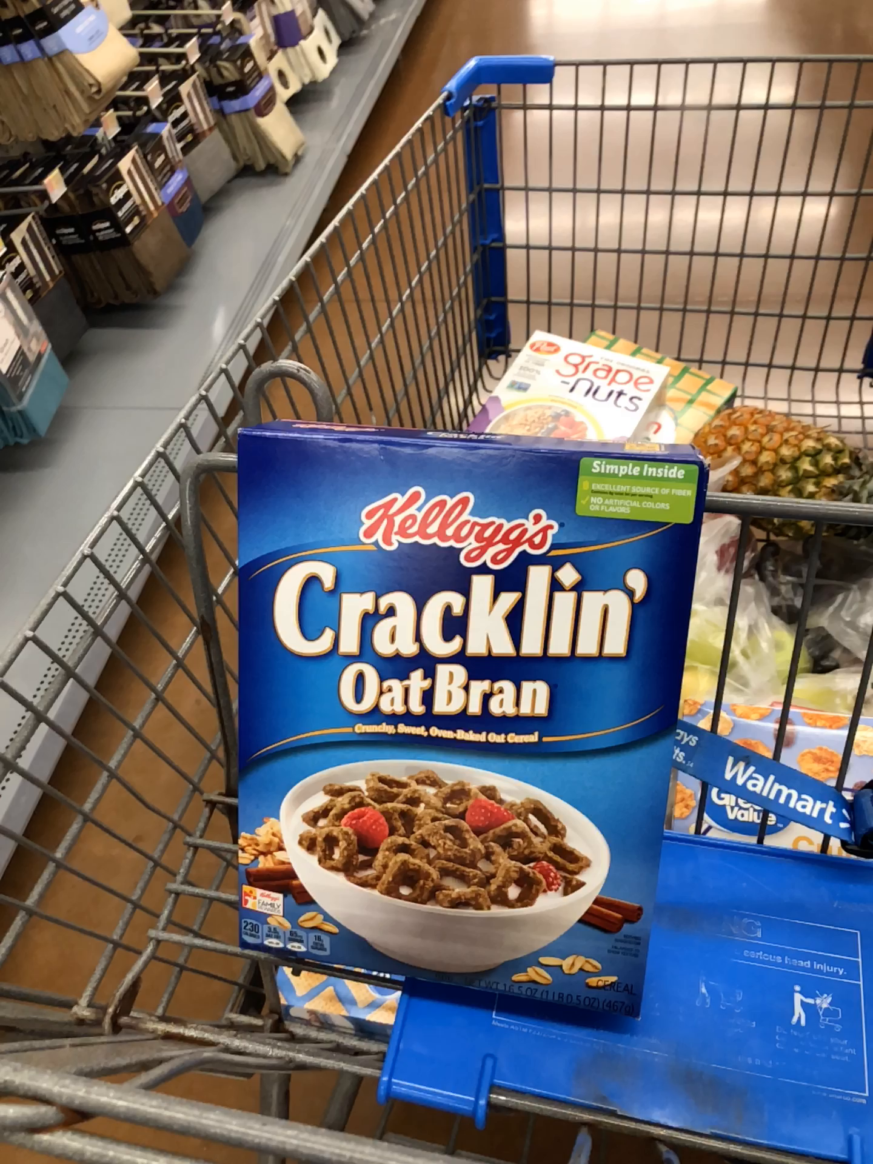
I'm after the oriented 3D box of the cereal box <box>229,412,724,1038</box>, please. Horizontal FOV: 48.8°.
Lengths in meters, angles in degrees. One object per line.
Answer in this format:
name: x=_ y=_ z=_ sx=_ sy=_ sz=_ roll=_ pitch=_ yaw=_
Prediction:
cereal box: x=0.011 y=0.061 z=0.438 sx=0.200 sy=0.260 sz=0.050 roll=5 pitch=13 yaw=11
